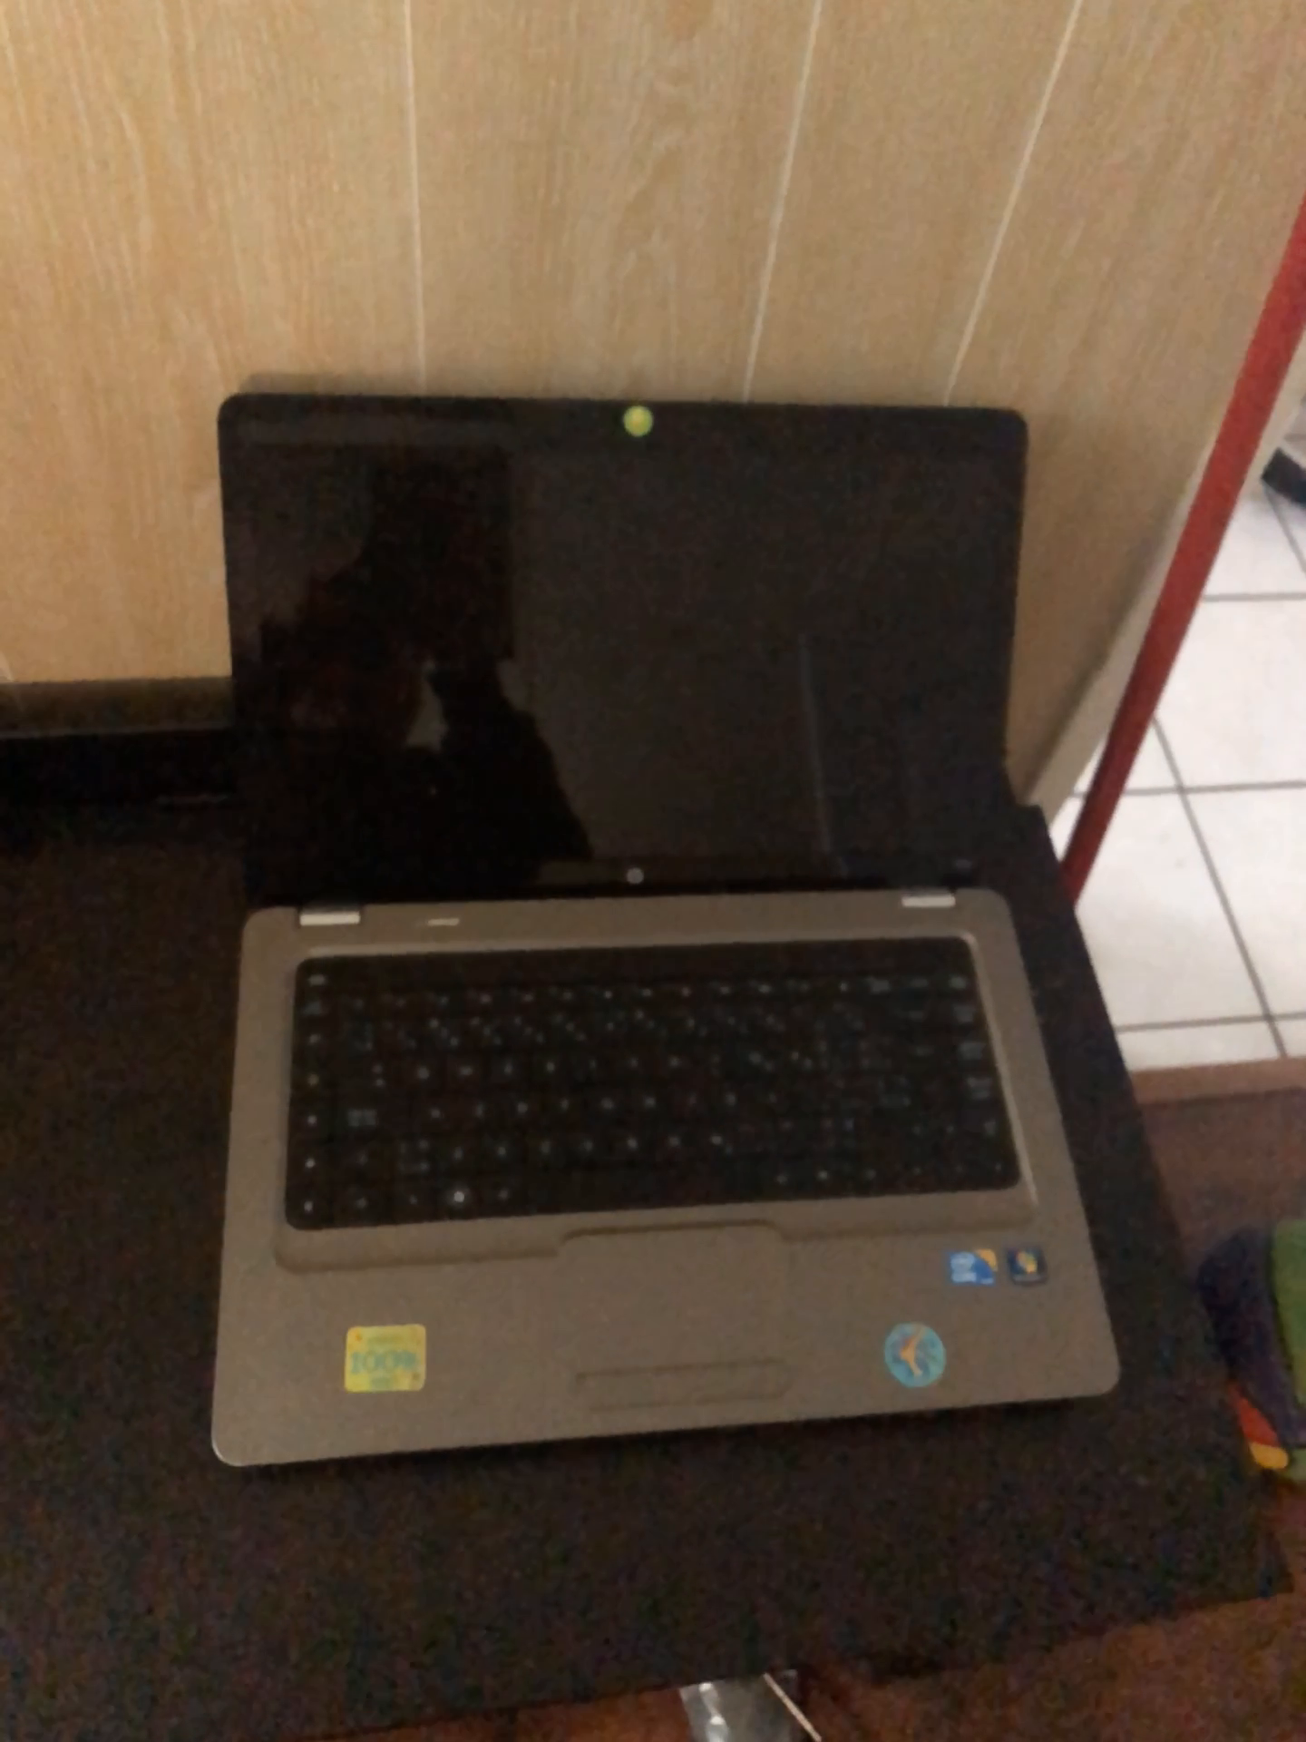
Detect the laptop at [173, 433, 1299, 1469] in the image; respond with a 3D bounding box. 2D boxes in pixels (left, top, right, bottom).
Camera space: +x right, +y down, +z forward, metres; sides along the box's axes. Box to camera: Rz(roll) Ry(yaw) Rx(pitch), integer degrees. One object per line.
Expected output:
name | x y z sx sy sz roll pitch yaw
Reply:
laptop | 0.009 0.014 0.625 0.356 0.166 0.403 -2 58 -7
